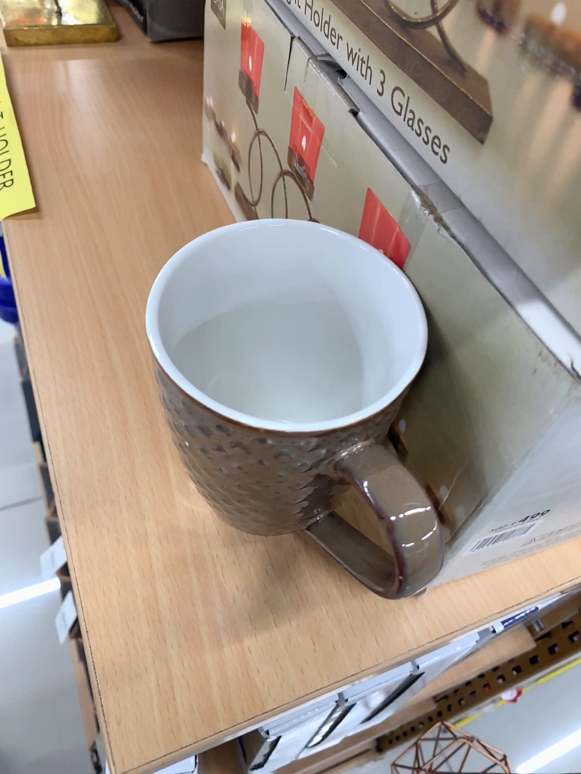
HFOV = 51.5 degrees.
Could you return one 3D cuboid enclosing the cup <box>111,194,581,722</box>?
[{"bbox_3d":[0.006,0.018,0.204,0.090,0.090,0.130,-16,58,-22],"label":"cup"}]
